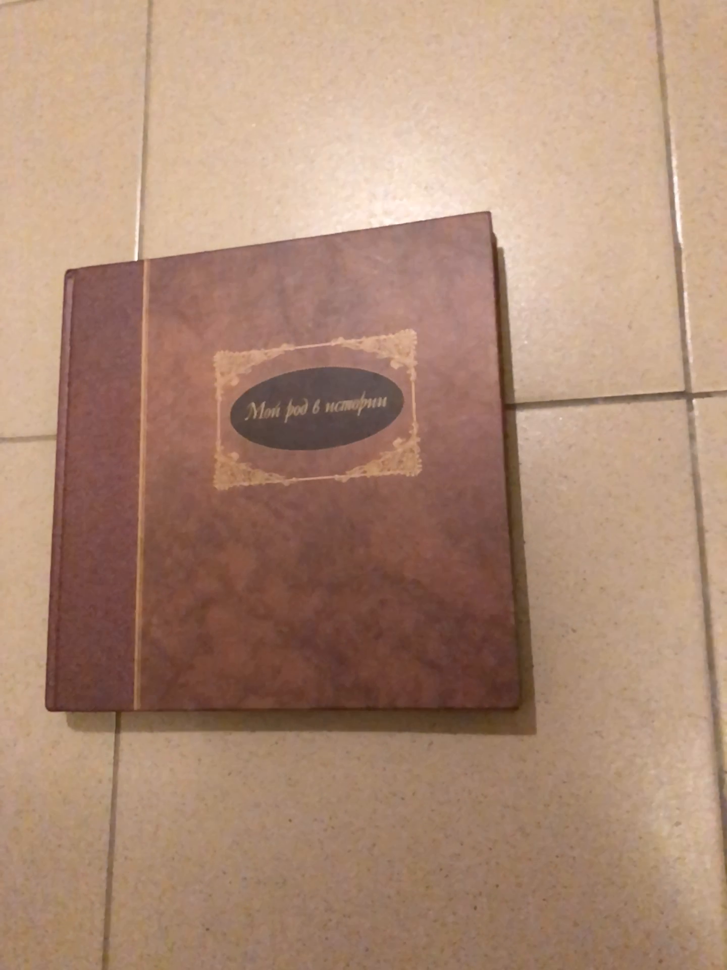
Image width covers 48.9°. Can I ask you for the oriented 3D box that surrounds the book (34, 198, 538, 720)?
[{"bbox_3d":[-0.045,-0.009,0.414,0.244,0.038,0.244,-5,77,14],"label":"book"}]
